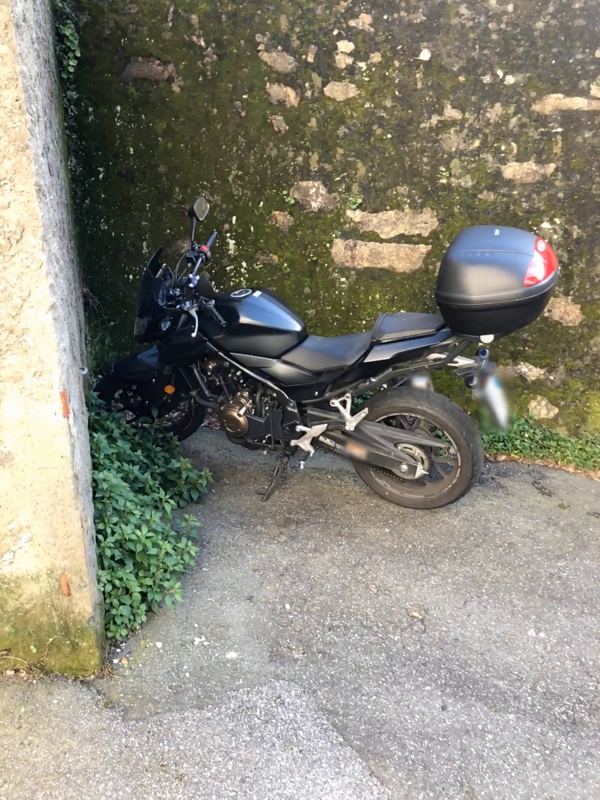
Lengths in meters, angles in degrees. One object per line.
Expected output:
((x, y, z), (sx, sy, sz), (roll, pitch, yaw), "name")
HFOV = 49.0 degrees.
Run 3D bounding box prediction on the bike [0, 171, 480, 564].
((-0.197, -0.207, 2.831), (1.783, 1.199, 0.714), (9, 18, 10), "bike")
